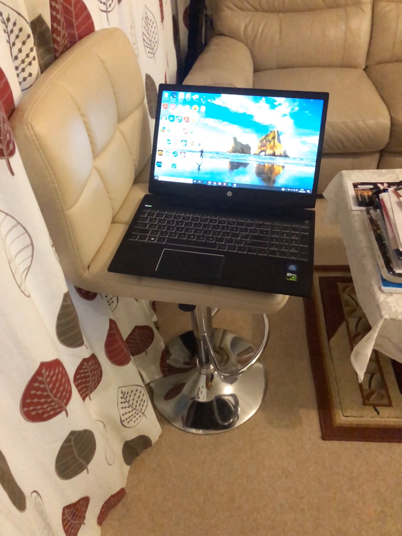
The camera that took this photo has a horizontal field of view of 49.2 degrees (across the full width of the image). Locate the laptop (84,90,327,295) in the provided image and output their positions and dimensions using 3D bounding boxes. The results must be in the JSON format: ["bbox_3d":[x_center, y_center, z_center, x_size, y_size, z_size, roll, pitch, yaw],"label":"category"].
[{"bbox_3d":[0.043,-0.168,0.819,0.348,0.159,0.403,6,44,10],"label":"laptop"}]
